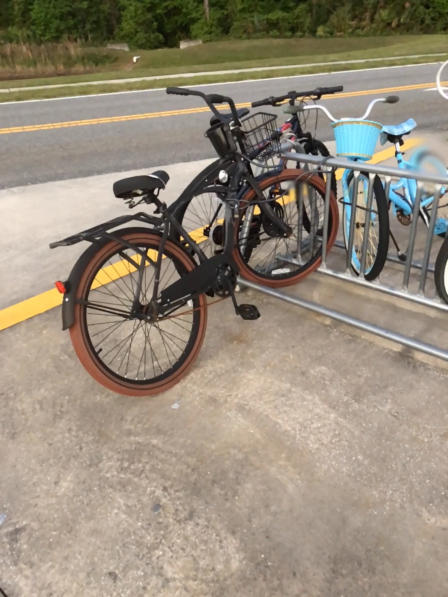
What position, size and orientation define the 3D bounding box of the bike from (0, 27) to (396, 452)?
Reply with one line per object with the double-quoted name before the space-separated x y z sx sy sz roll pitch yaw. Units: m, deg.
"bike" -0.056 -0.451 2.288 0.831 1.117 1.726 20 41 35
